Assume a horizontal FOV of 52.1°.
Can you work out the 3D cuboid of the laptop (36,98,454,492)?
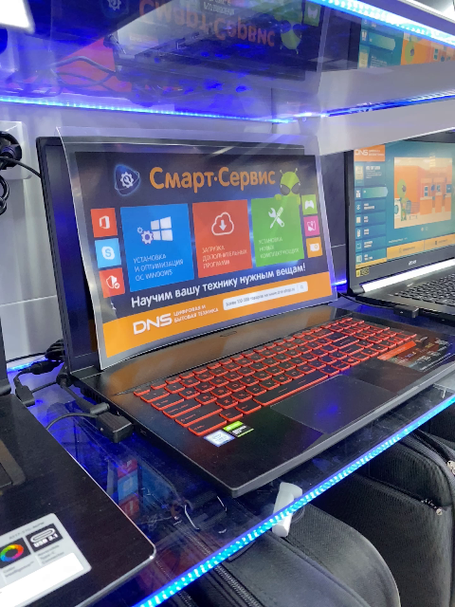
[{"bbox_3d":[0.061,-0.056,0.506,0.405,0.237,0.287,-13,19,-39],"label":"laptop"}]
